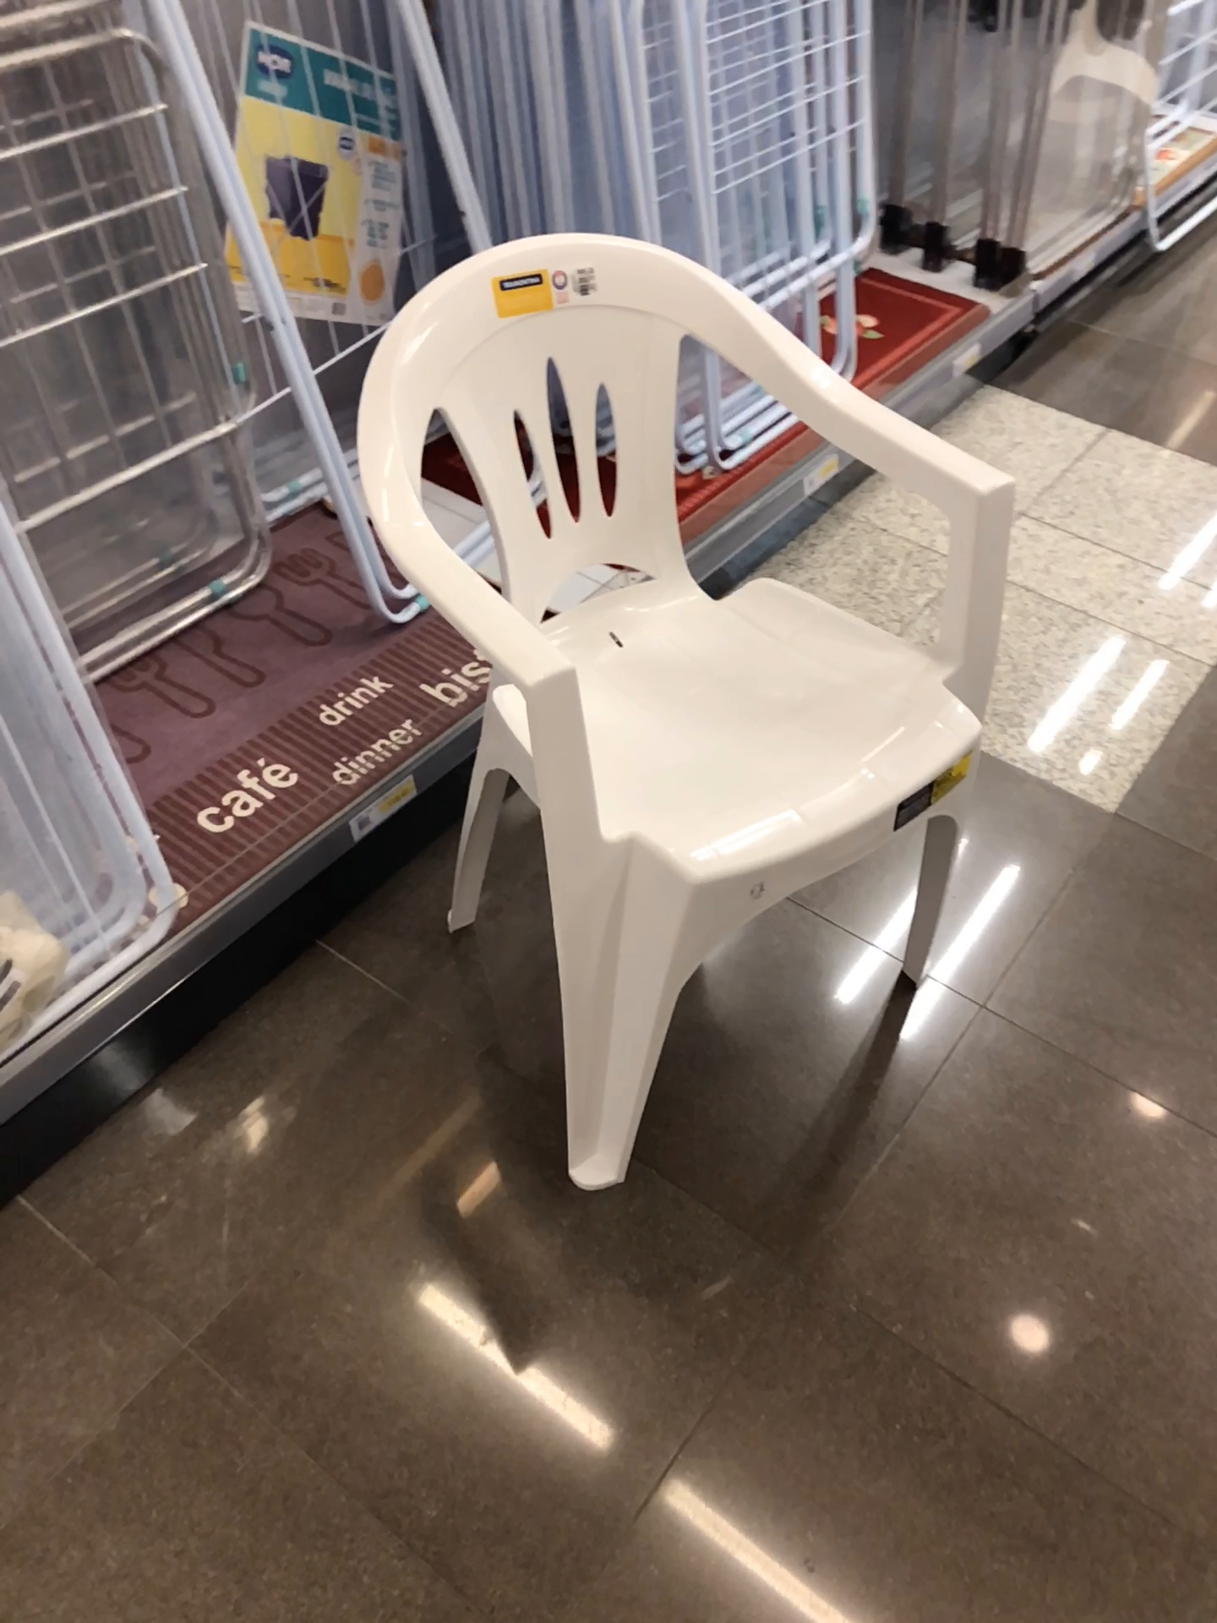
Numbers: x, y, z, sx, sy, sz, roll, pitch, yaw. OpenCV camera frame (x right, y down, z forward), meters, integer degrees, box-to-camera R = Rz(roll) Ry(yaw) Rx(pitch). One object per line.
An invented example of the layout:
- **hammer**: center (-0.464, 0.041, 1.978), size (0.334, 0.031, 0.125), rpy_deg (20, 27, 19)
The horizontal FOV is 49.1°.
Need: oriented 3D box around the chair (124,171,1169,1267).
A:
- **chair**: center (0.012, -0.116, 1.325), size (0.602, 0.705, 0.602), rpy_deg (-30, 53, -29)
